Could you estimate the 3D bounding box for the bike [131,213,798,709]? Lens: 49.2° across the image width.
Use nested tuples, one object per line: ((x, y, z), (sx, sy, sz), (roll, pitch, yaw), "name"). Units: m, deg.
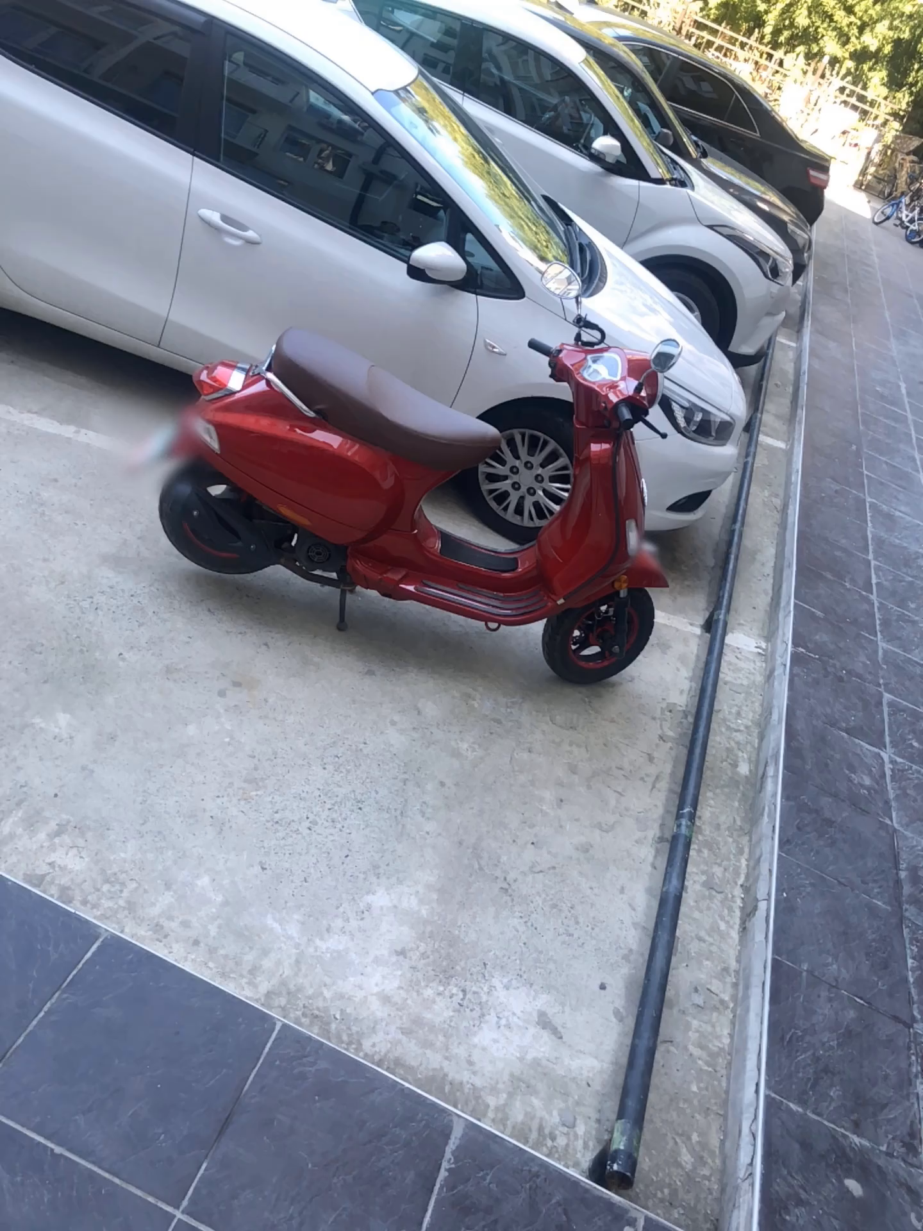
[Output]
((-0.017, -0.407, 2.998), (1.594, 0.950, 0.537), (14, 34, -12), "bike")
